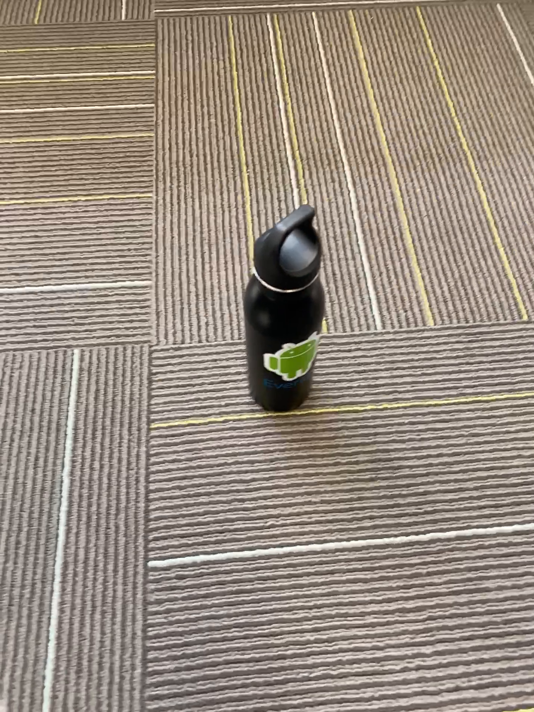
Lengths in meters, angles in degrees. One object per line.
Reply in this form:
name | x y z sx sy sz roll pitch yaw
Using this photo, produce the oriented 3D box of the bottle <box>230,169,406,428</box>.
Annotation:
bottle | 0.031 -0.030 0.473 0.090 0.239 0.080 -24 66 -12
